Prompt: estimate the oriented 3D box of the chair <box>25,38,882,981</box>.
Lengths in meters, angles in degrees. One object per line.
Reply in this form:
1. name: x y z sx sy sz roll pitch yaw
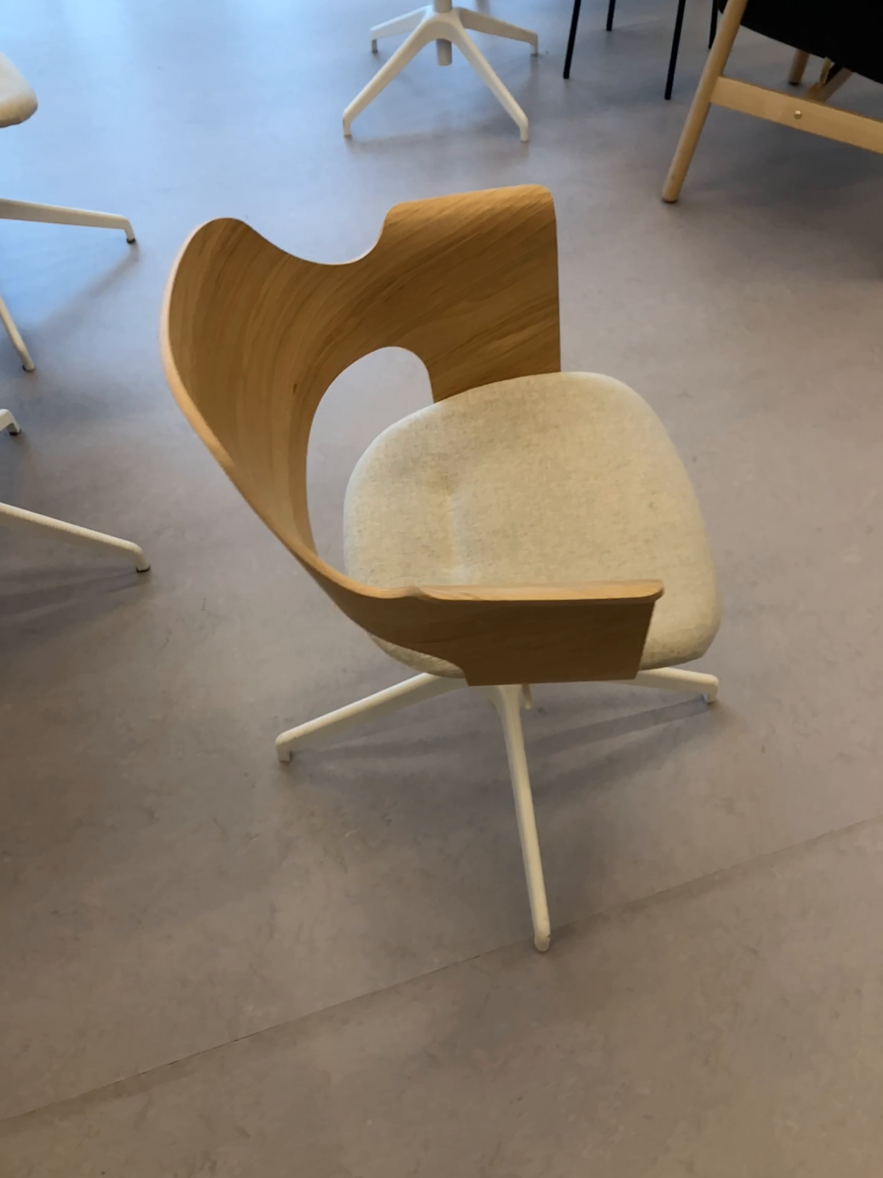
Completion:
1. chair: 0.109 -0.057 1.107 0.660 0.775 0.714 3 53 5
